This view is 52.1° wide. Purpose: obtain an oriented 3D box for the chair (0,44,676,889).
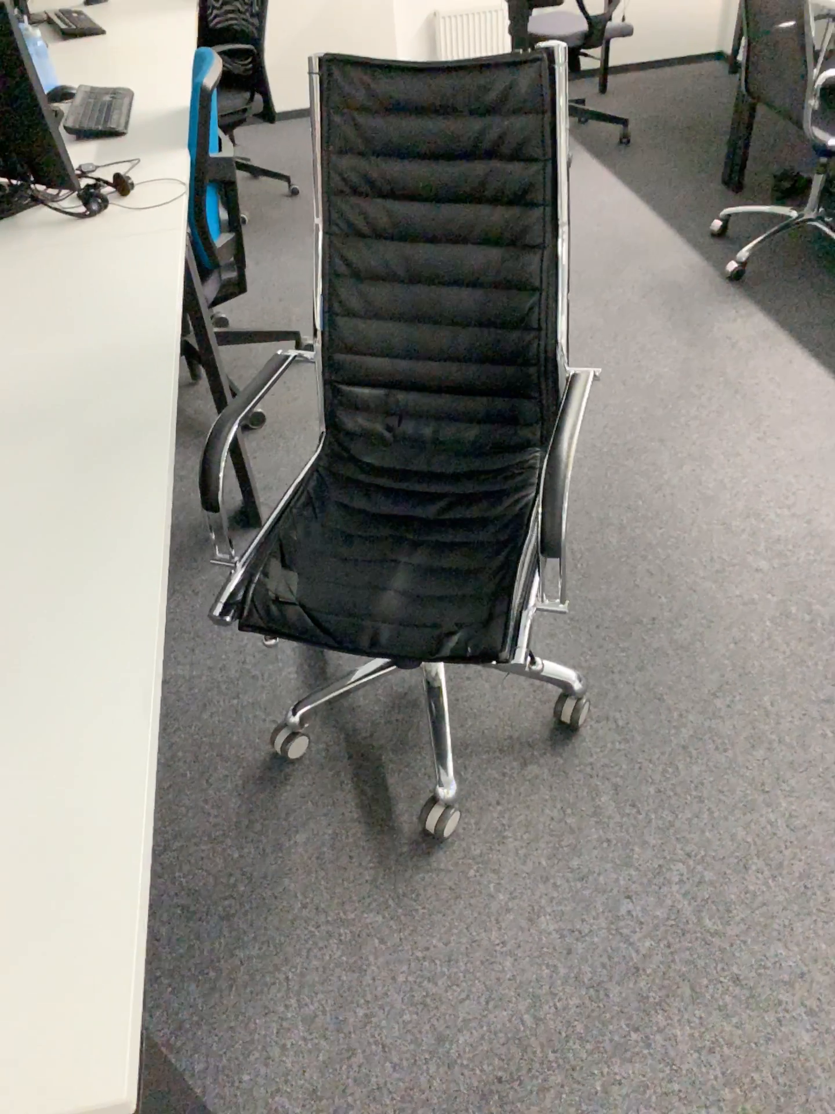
[{"bbox_3d":[-0.011,-0.124,1.428,0.640,1.134,0.693,10,45,17],"label":"chair"}]
